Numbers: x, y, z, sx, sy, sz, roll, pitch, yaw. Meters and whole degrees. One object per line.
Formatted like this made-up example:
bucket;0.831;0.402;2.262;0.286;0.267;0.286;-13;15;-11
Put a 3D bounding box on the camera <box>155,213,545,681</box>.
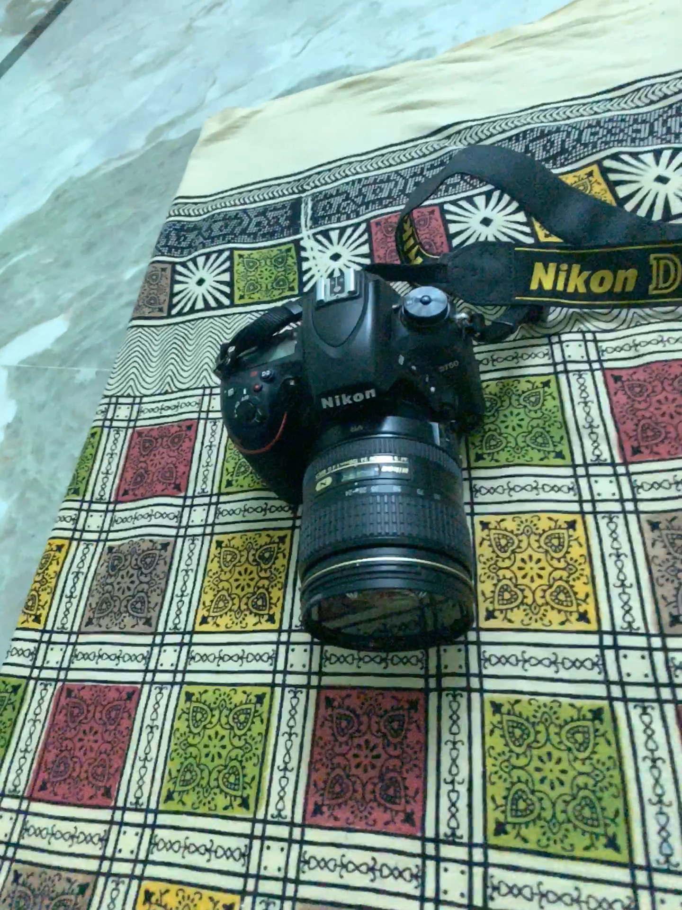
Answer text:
camera;0.010;-0.003;0.352;0.140;0.100;0.190;-11;52;17
